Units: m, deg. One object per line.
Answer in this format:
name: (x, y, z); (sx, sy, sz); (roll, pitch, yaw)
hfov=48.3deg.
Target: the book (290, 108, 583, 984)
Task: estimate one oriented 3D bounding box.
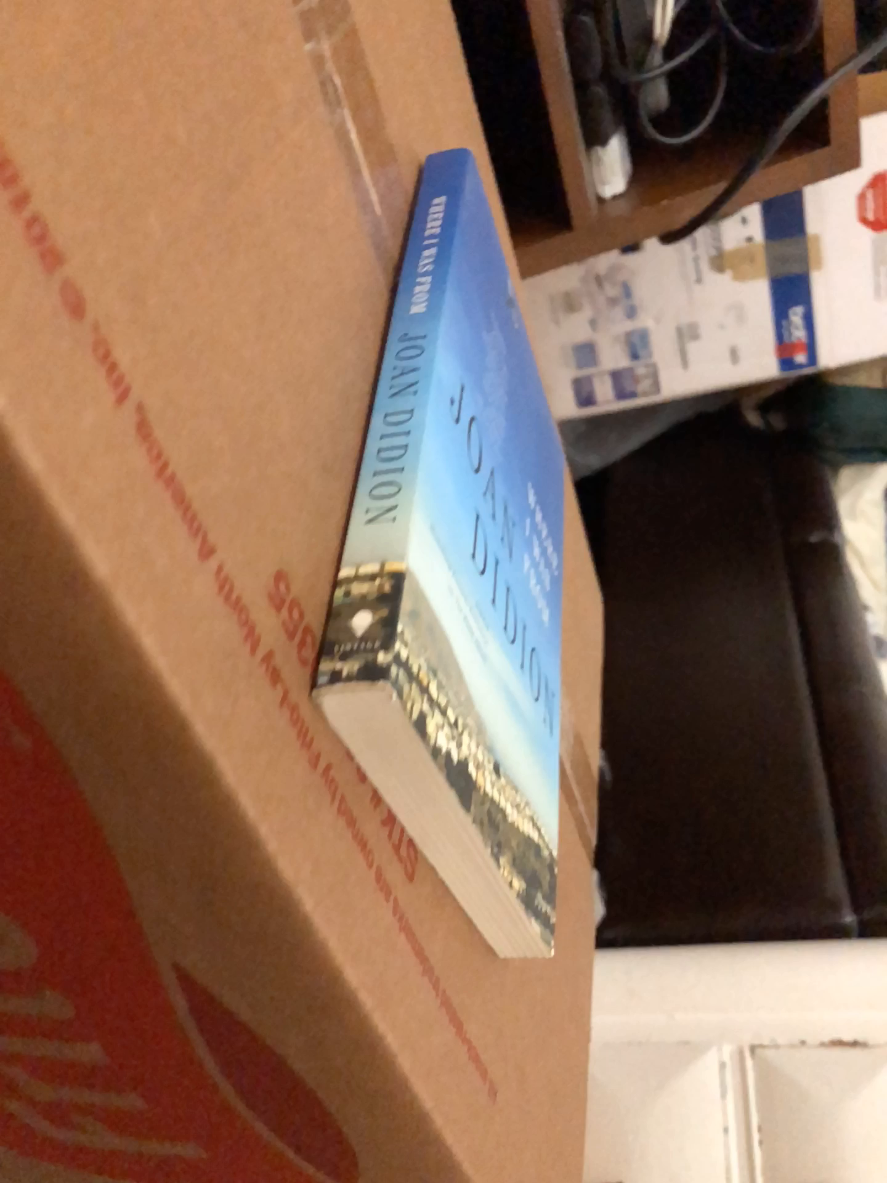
book: (0.014, -0.020, 0.282); (0.140, 0.020, 0.211); (64, 24, -45)
